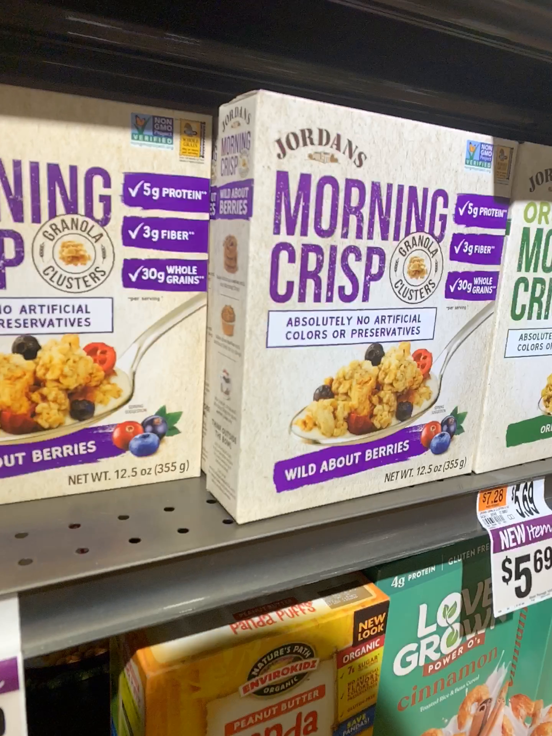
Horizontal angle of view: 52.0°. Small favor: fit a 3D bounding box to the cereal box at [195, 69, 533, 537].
[{"bbox_3d":[0.050,-0.034,0.334,0.180,0.219,0.060,-4,15,-29],"label":"cereal box"}]
